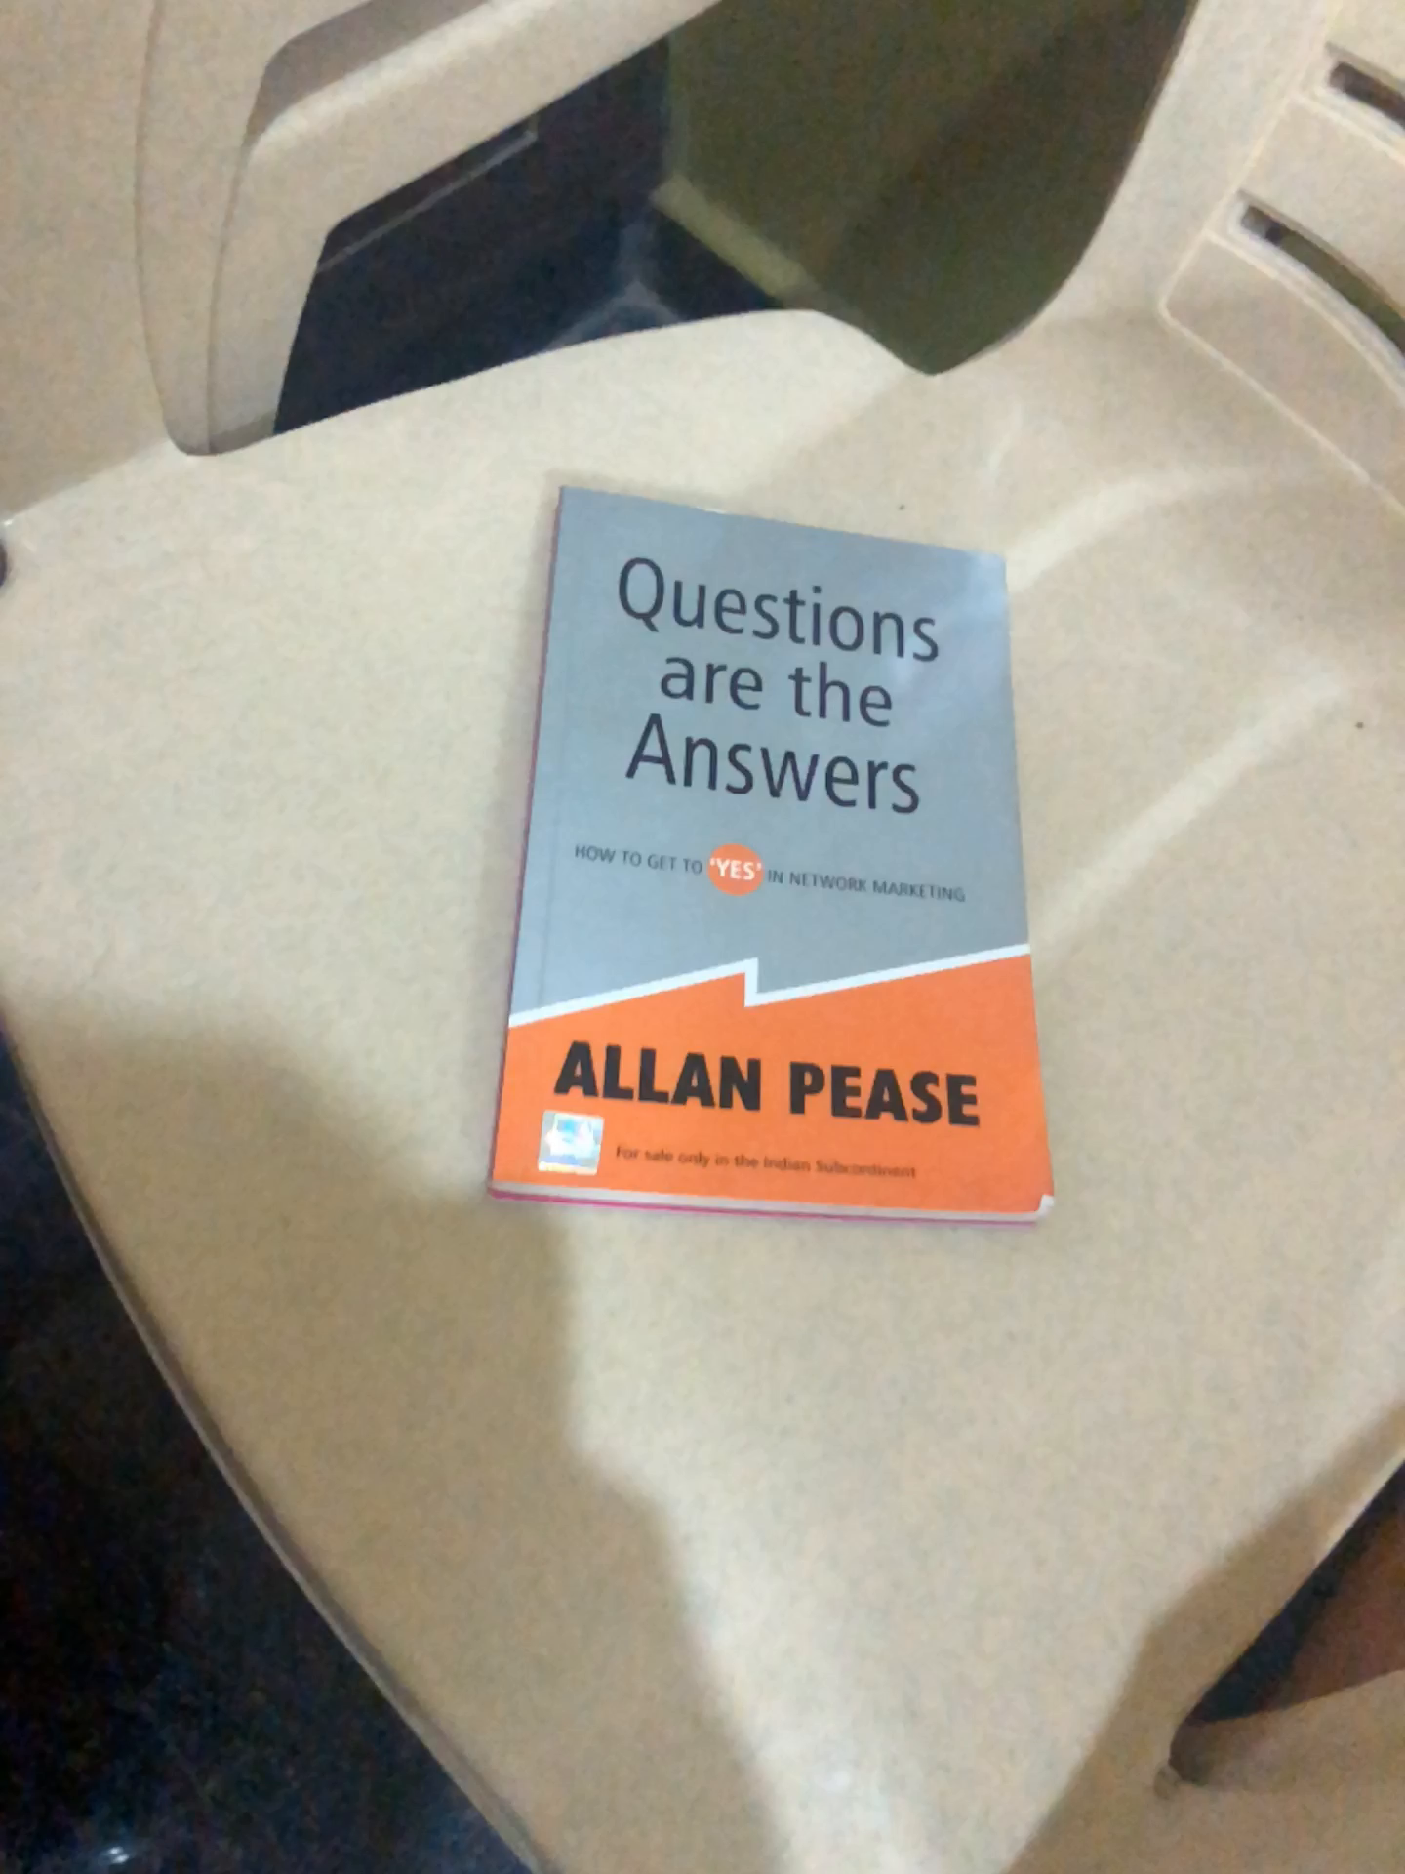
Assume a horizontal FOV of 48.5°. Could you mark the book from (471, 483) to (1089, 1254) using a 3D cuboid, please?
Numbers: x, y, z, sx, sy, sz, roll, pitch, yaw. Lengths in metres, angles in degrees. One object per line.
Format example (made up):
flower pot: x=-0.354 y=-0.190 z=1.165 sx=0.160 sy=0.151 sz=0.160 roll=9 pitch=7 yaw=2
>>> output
book: x=0.023 y=-0.025 z=0.426 sx=0.150 sy=0.020 sz=0.210 roll=5 pitch=65 yaw=-7
